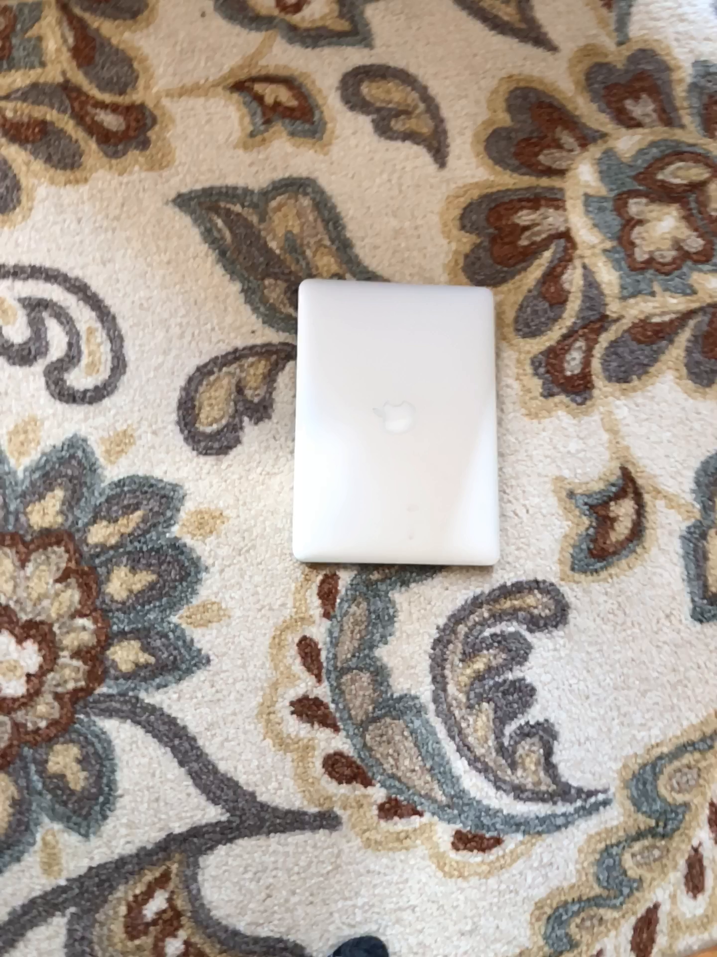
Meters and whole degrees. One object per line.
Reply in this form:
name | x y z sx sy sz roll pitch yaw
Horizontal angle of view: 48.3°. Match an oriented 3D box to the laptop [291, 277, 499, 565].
laptop | 0.040 -0.061 0.813 0.207 0.001 0.295 2 80 -5
